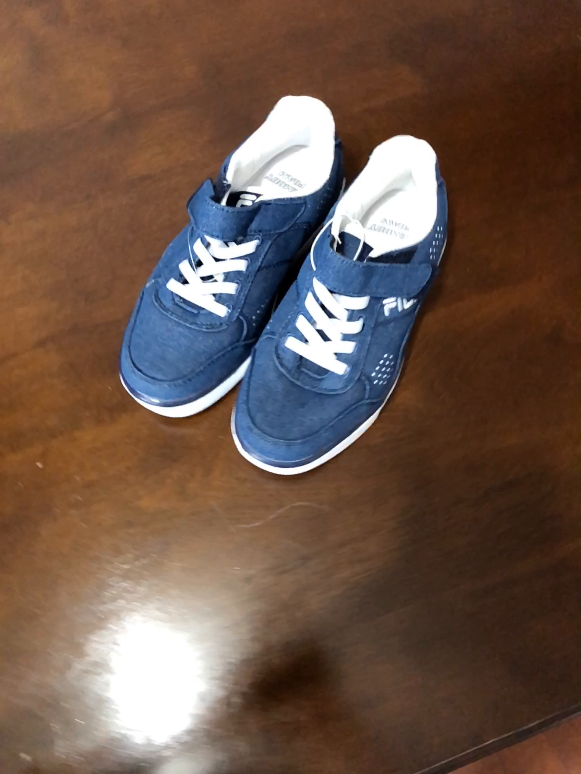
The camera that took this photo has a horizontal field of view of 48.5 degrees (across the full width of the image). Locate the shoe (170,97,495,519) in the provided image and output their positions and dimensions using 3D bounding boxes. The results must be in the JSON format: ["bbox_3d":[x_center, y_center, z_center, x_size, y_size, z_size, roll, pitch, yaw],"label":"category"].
[{"bbox_3d":[0.032,-0.052,0.414,0.100,0.080,0.240,24,73,9],"label":"shoe"}]

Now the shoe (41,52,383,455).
[{"bbox_3d":[-0.039,-0.089,0.422,0.090,0.080,0.240,28,73,10],"label":"shoe"}]
